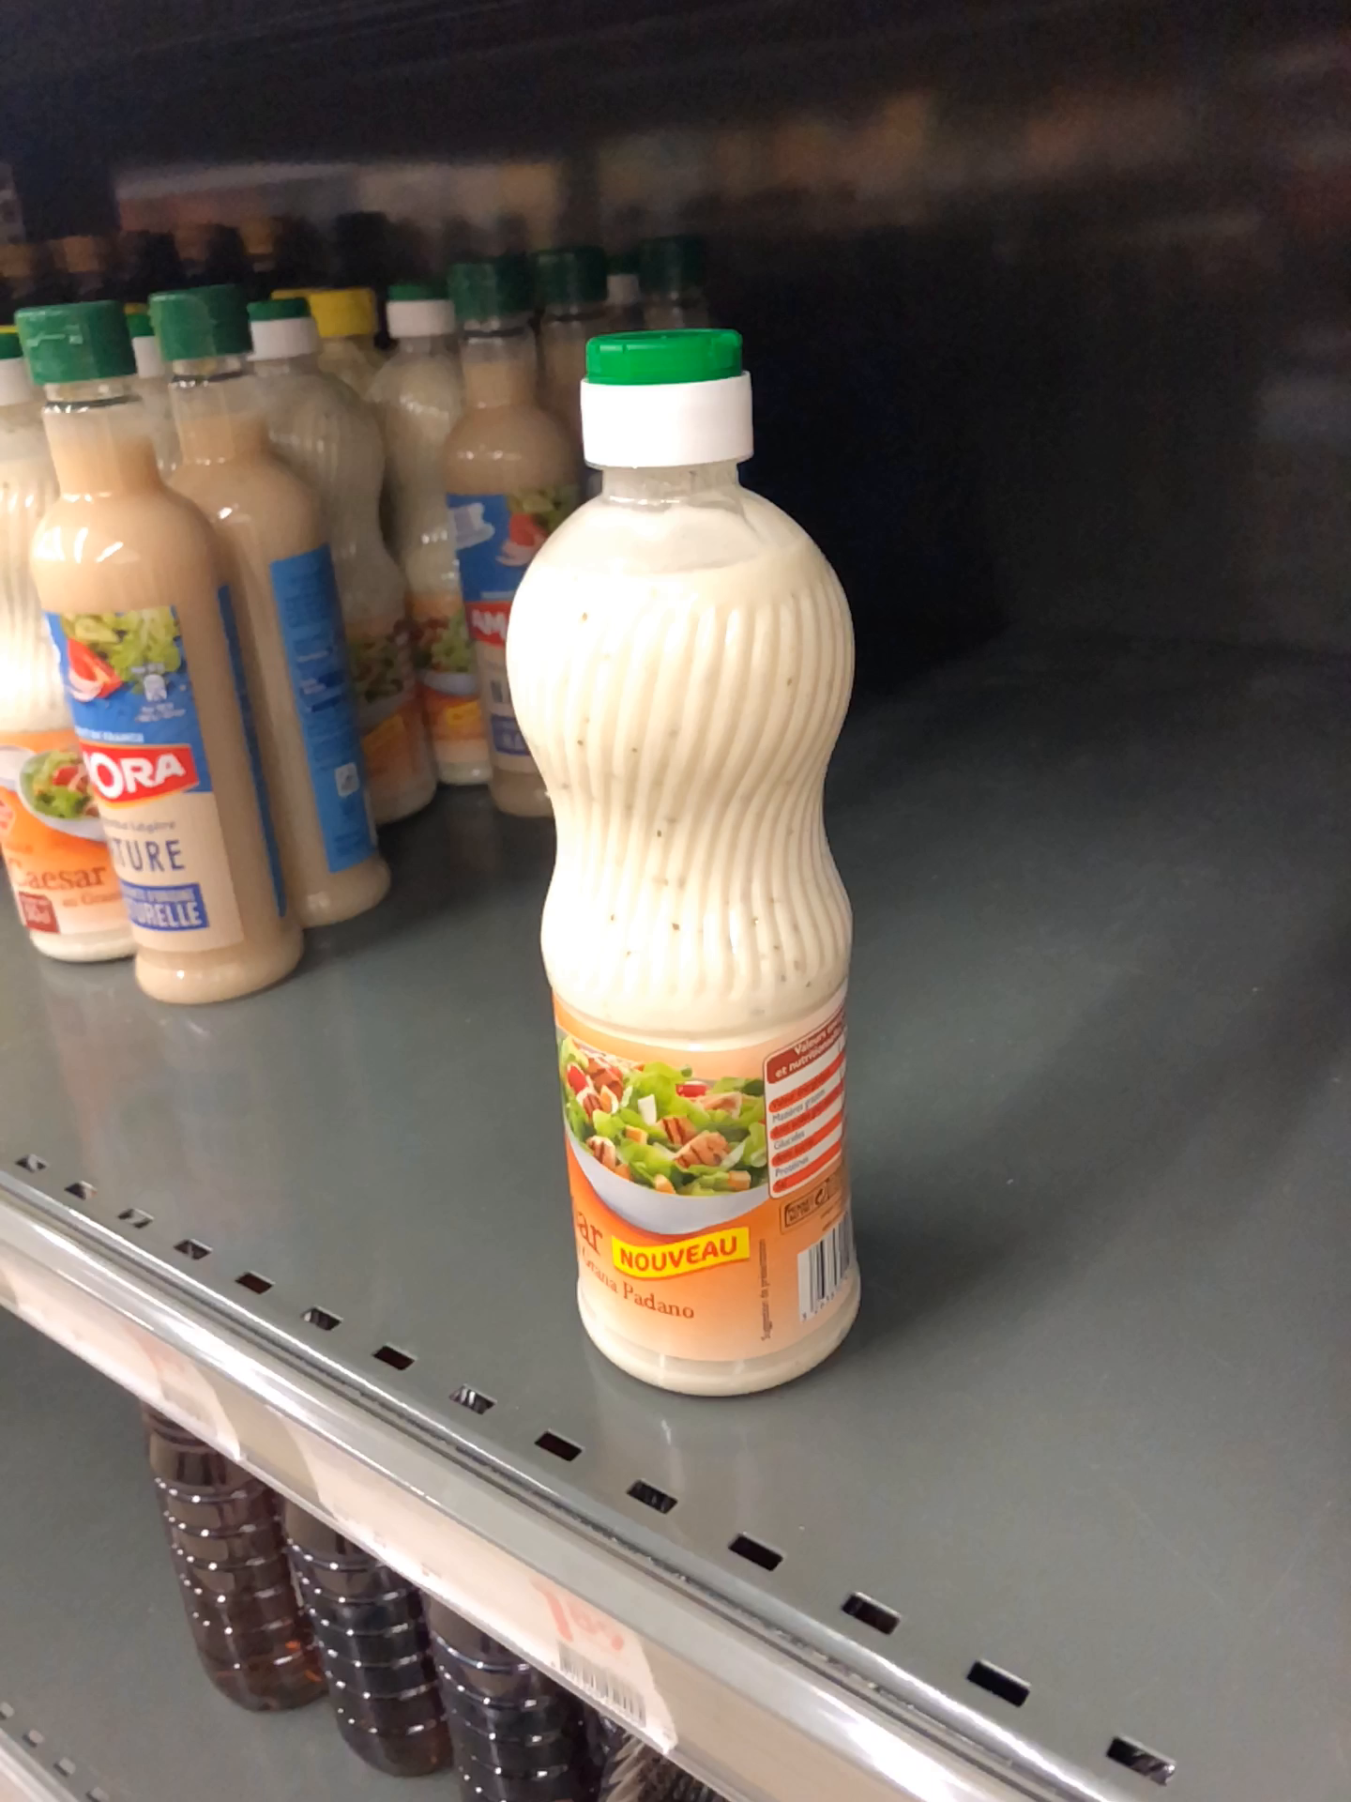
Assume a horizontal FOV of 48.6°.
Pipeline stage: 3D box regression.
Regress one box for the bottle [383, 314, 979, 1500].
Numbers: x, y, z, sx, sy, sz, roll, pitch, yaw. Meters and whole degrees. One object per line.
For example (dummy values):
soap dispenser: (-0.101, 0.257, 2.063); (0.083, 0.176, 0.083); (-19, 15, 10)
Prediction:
bottle: (0.010, 0.000, 0.324); (0.080, 0.229, 0.080); (-4, 23, 2)
